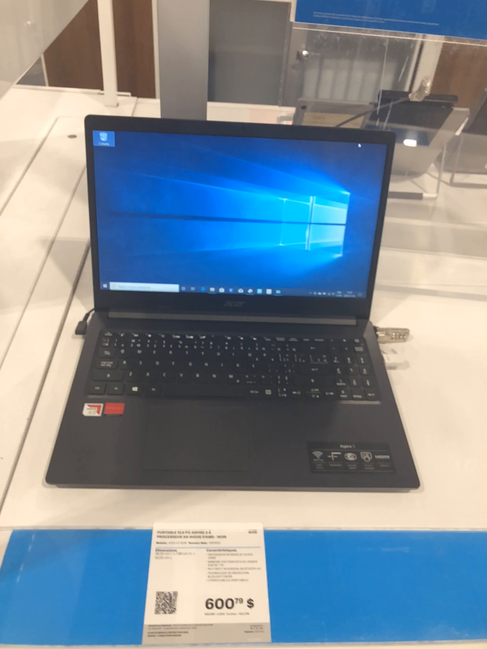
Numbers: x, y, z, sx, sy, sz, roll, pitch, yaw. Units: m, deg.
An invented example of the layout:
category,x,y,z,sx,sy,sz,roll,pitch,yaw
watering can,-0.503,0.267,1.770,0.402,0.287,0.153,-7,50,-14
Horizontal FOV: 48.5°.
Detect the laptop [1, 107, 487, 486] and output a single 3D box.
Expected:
category,x,y,z,sx,sy,sz,roll,pitch,yaw
laptop,-0.004,-0.047,0.596,0.367,0.212,0.351,2,44,-3
